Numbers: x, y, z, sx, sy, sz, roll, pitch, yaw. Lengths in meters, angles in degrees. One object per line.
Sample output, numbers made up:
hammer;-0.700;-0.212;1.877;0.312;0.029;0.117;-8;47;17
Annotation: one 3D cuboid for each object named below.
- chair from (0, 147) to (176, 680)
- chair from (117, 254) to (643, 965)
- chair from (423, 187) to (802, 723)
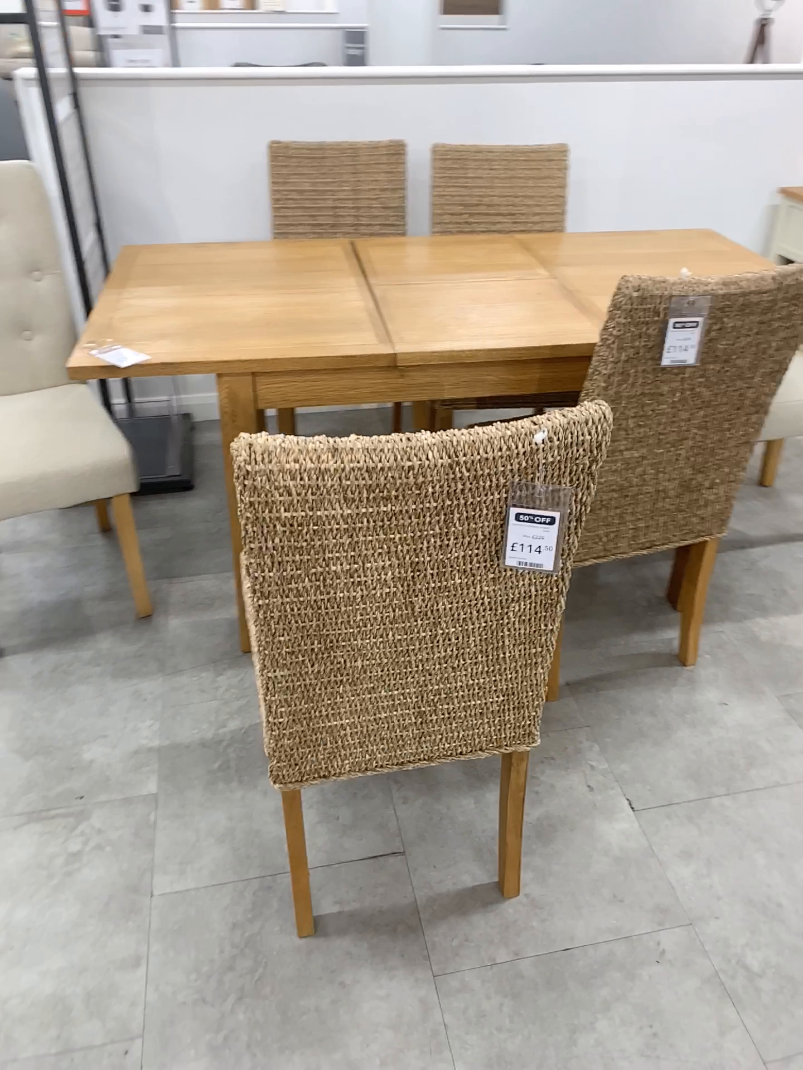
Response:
chair;-0.801;-0.296;1.727;0.425;0.840;0.730;-11;35;-17
chair;-0.065;0.091;1.239;0.505;0.840;0.579;-5;34;-9
chair;0.396;-0.184;1.681;0.525;0.870;0.569;-10;34;-16
